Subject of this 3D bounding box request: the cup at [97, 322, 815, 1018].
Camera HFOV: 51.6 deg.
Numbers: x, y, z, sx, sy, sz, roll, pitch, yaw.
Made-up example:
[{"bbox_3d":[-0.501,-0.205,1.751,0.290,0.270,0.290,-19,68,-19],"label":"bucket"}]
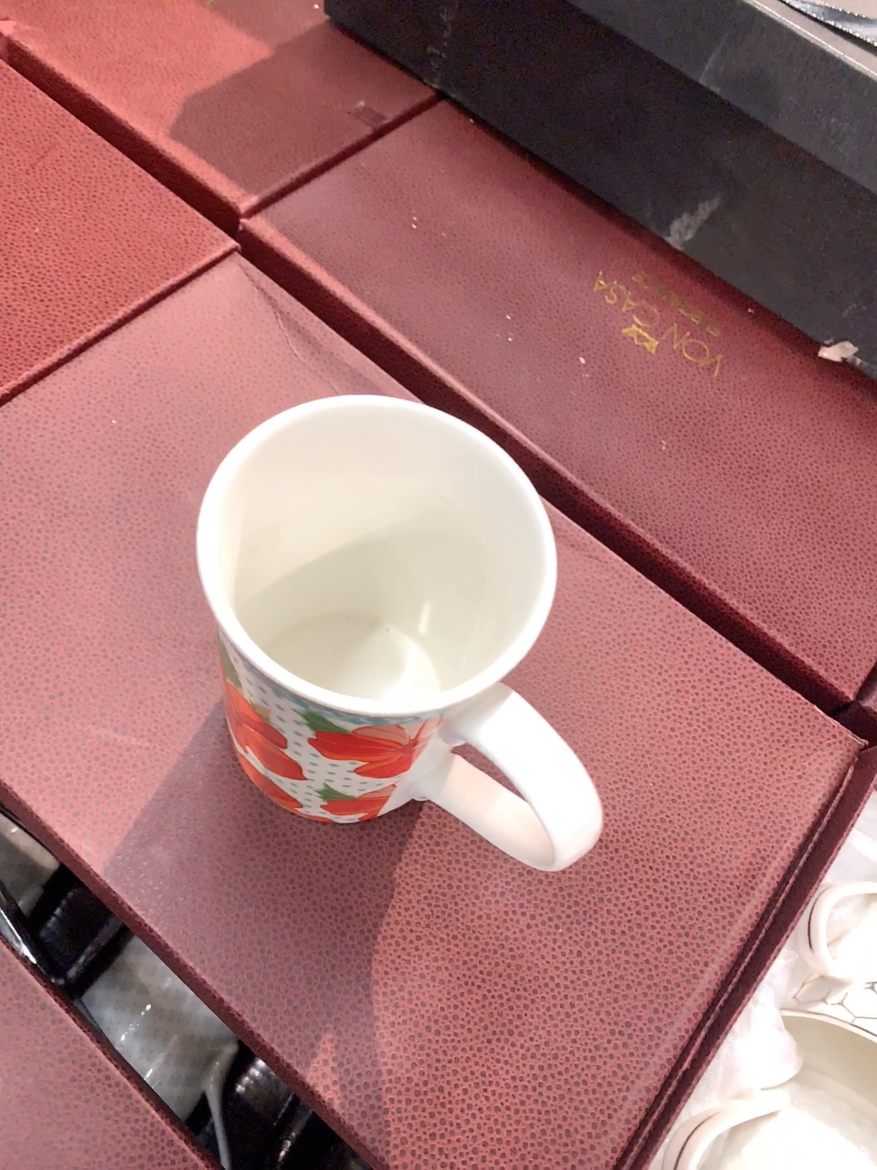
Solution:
[{"bbox_3d":[-0.003,0.028,0.226,0.120,0.110,0.080,41,63,11],"label":"cup"}]
